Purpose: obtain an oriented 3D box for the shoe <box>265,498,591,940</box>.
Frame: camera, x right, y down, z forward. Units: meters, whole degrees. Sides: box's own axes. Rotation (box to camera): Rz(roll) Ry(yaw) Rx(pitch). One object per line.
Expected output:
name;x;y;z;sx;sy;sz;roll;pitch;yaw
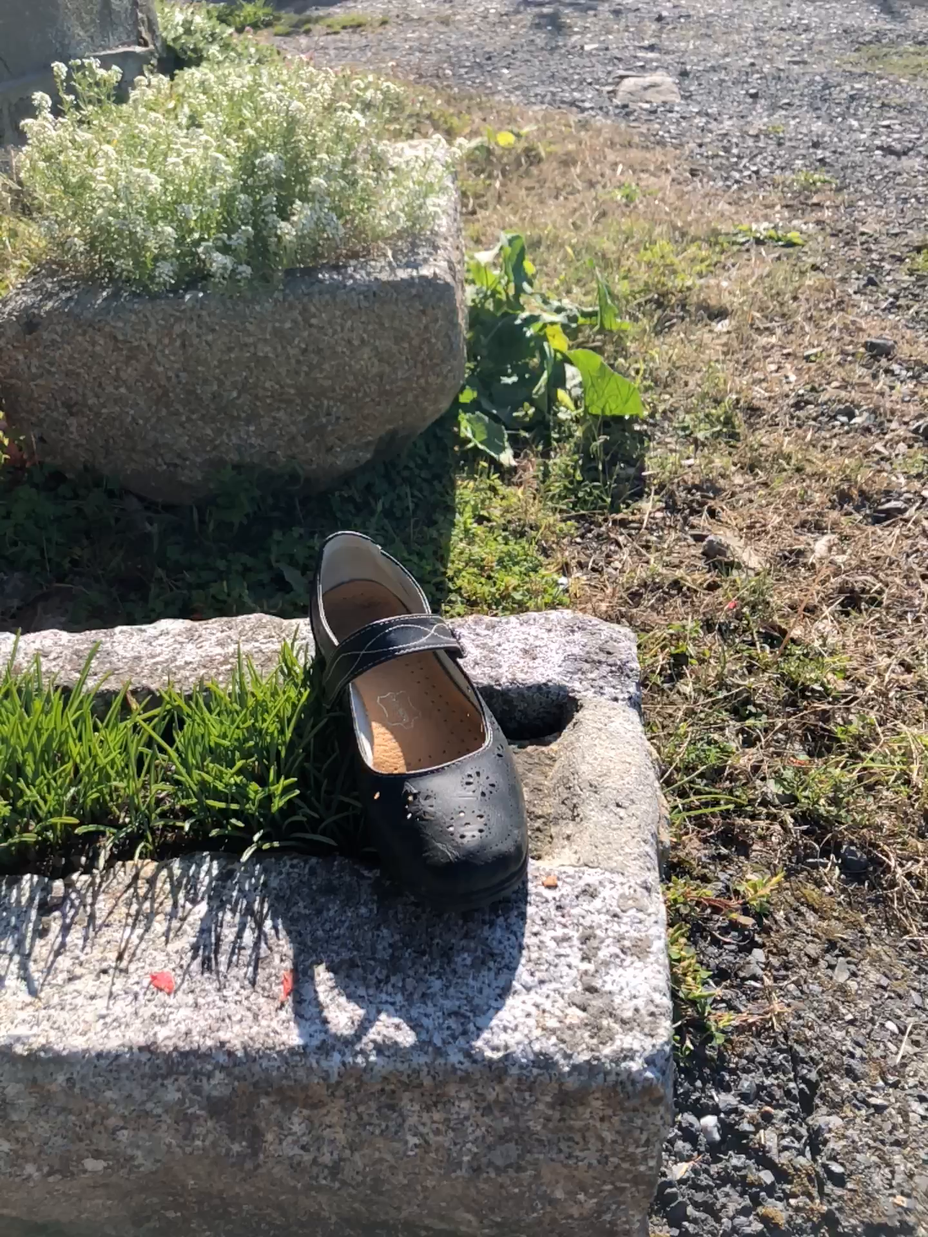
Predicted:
shoe;-0.030;0.039;0.579;0.100;0.099;0.251;-16;35;-14
